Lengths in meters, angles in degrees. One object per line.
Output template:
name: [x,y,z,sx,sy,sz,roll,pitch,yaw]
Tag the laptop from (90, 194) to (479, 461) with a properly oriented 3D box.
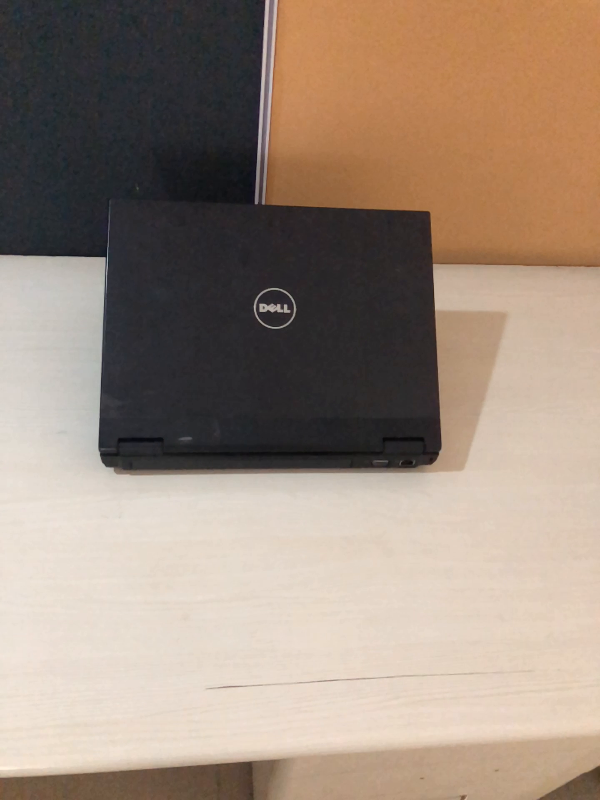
laptop: [-0.021,-0.073,0.632,0.302,0.126,0.226,0,49,-7]
